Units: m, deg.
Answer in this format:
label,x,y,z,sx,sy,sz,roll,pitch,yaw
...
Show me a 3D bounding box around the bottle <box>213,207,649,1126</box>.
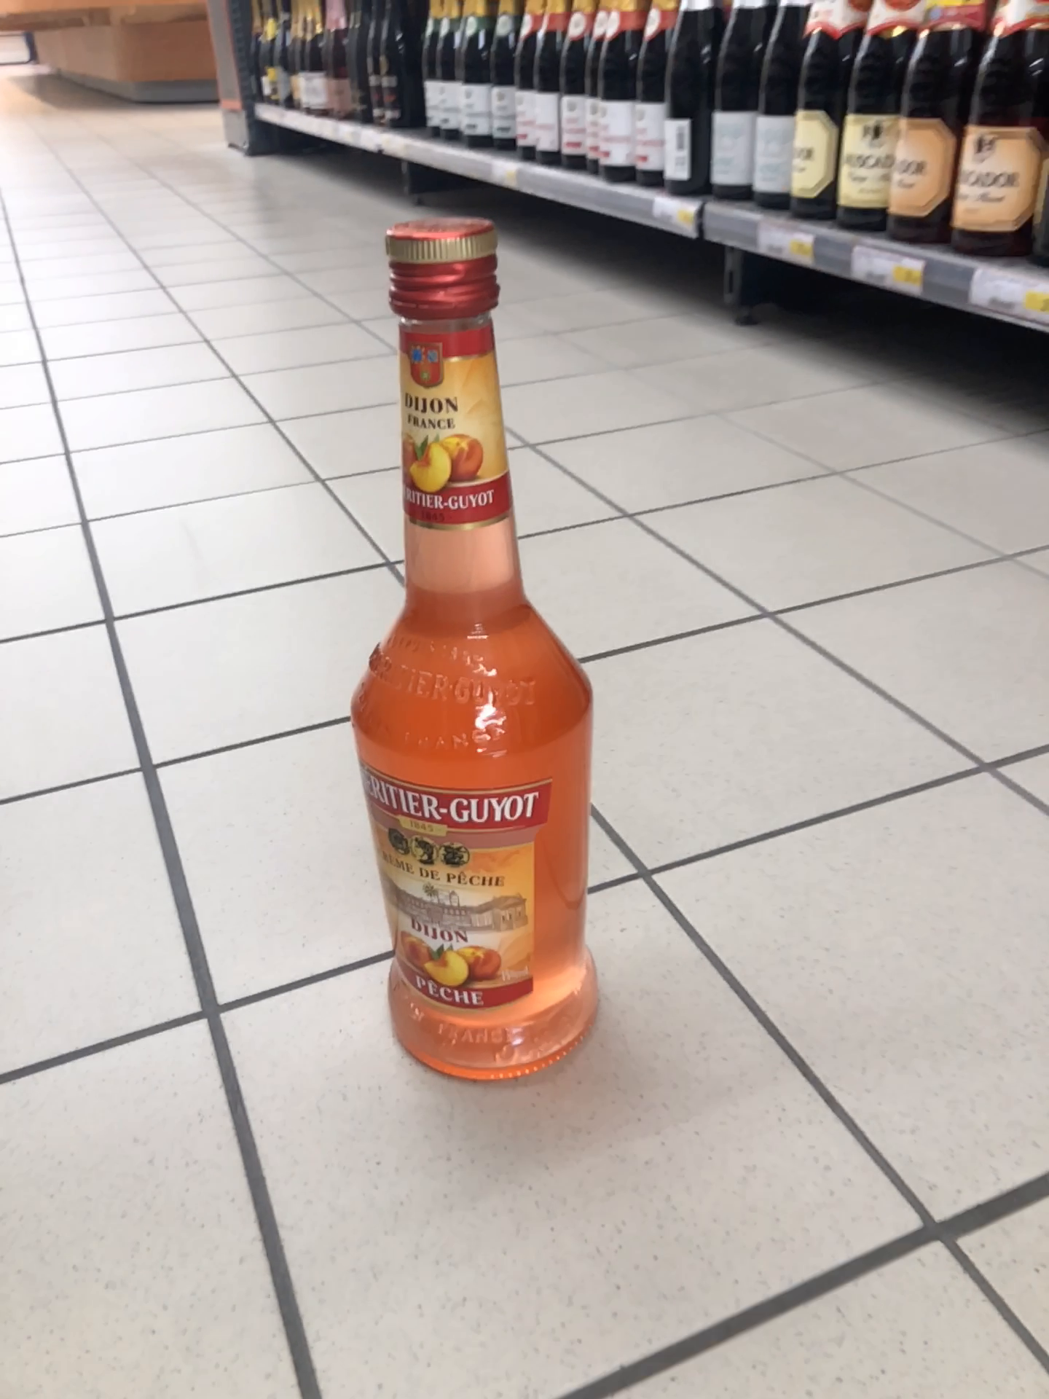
label,x,y,z,sx,sy,sz,roll,pitch,yaw
bottle,-0.019,-0.004,0.401,0.090,0.298,0.091,-2,29,1
